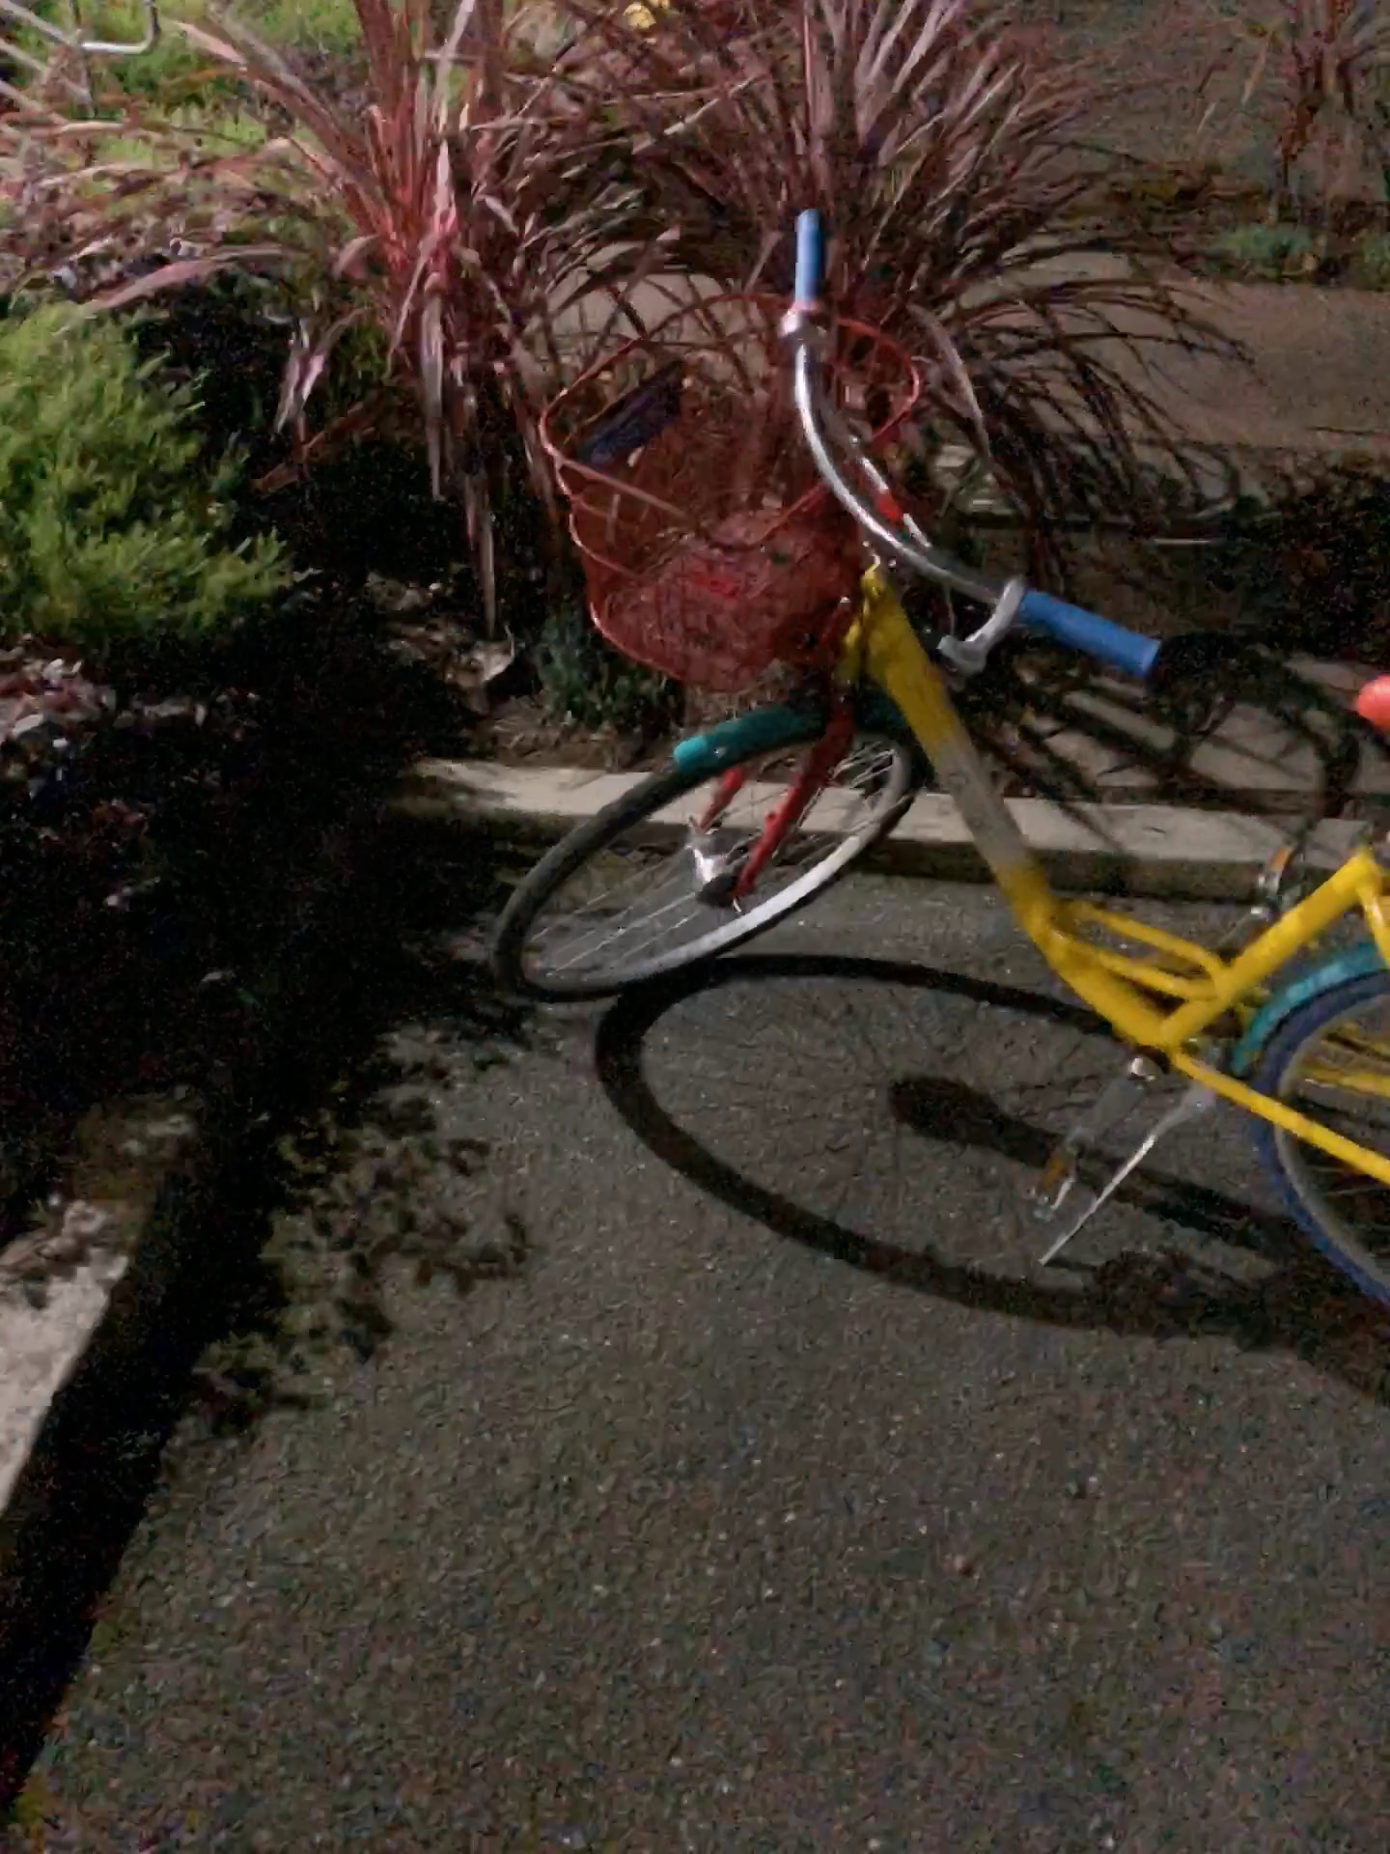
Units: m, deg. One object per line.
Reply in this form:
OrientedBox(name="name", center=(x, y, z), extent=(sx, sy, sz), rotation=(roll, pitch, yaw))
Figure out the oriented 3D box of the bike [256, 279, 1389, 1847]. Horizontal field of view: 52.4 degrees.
OrientedBox(name="bike", center=(0.456, 0.041, 1.442), extent=(1.585, 1.085, 0.602), rotation=(15, 39, 20))
